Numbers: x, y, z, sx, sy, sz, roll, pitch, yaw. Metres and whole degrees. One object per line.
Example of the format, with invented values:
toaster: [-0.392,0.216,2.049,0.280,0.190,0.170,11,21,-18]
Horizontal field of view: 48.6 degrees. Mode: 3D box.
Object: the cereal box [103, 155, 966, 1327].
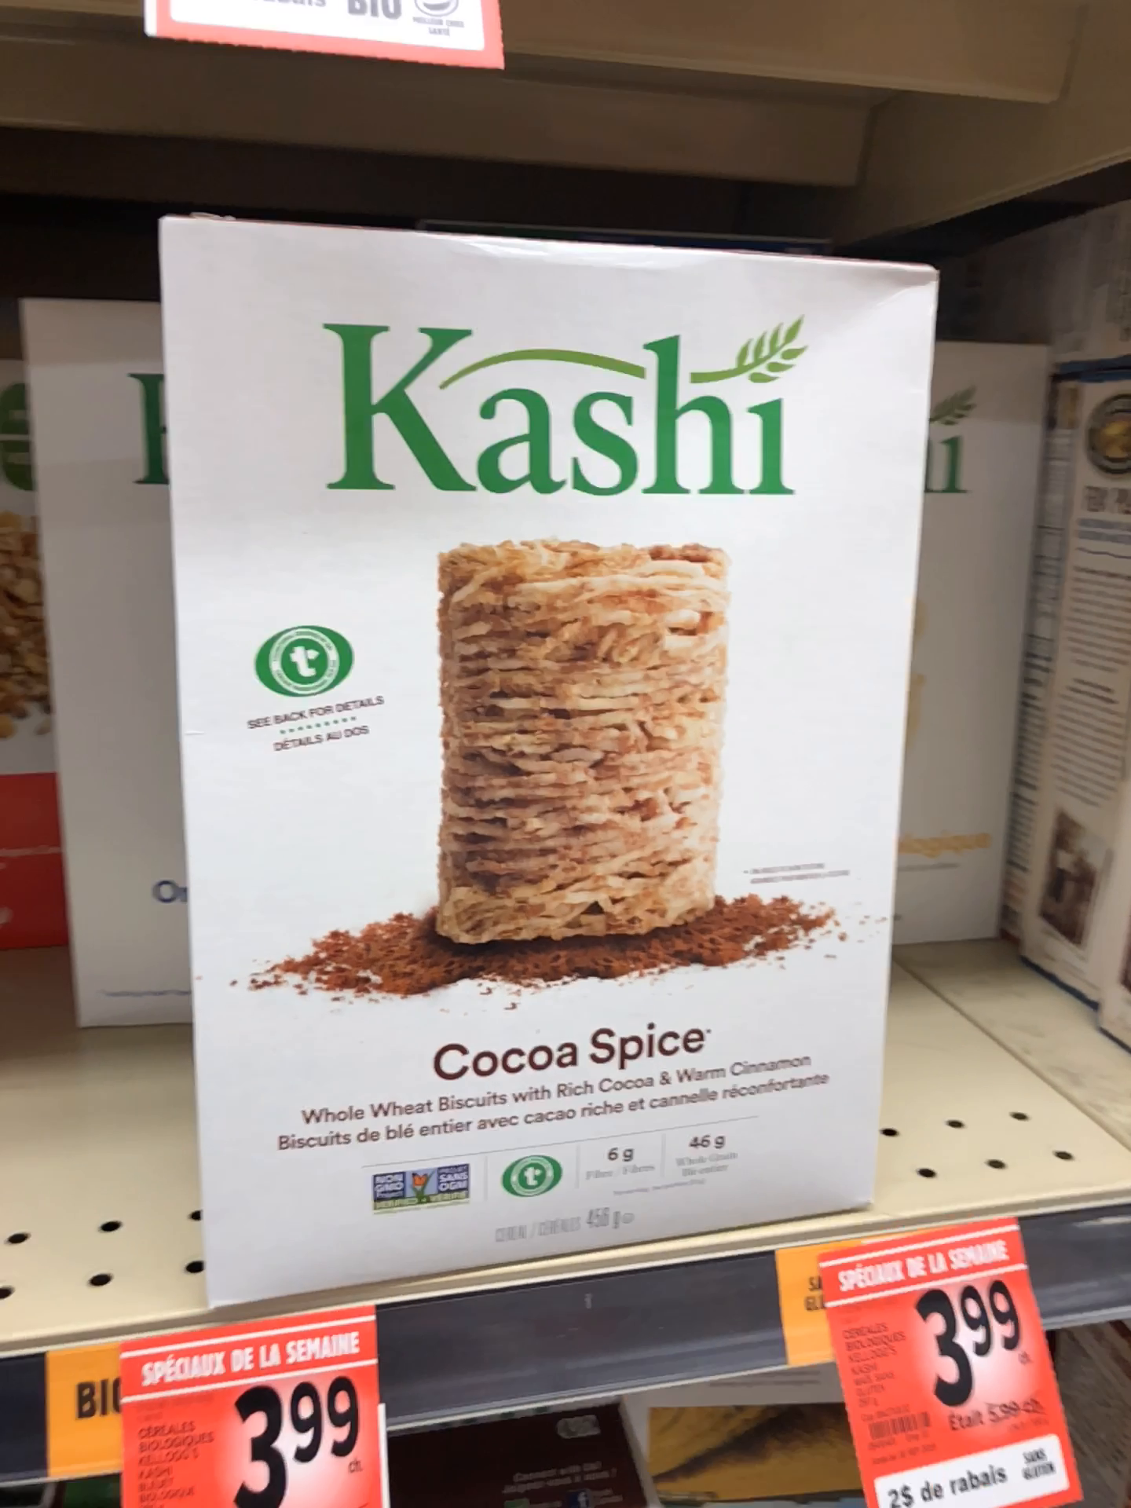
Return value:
cereal box: [-0.007,-0.002,0.350,0.210,0.279,0.060,-3,12,-16]
